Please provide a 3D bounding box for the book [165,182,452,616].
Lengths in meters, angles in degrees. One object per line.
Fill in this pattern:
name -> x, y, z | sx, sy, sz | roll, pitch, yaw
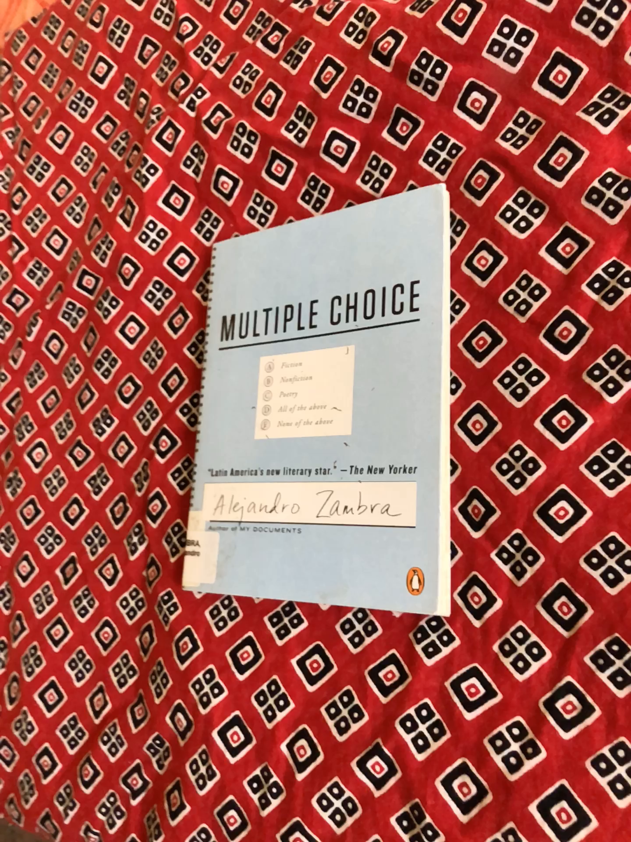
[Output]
book -> -0.005, -0.008, 0.321 | 0.134, 0.020, 0.176 | -4, 78, 31
